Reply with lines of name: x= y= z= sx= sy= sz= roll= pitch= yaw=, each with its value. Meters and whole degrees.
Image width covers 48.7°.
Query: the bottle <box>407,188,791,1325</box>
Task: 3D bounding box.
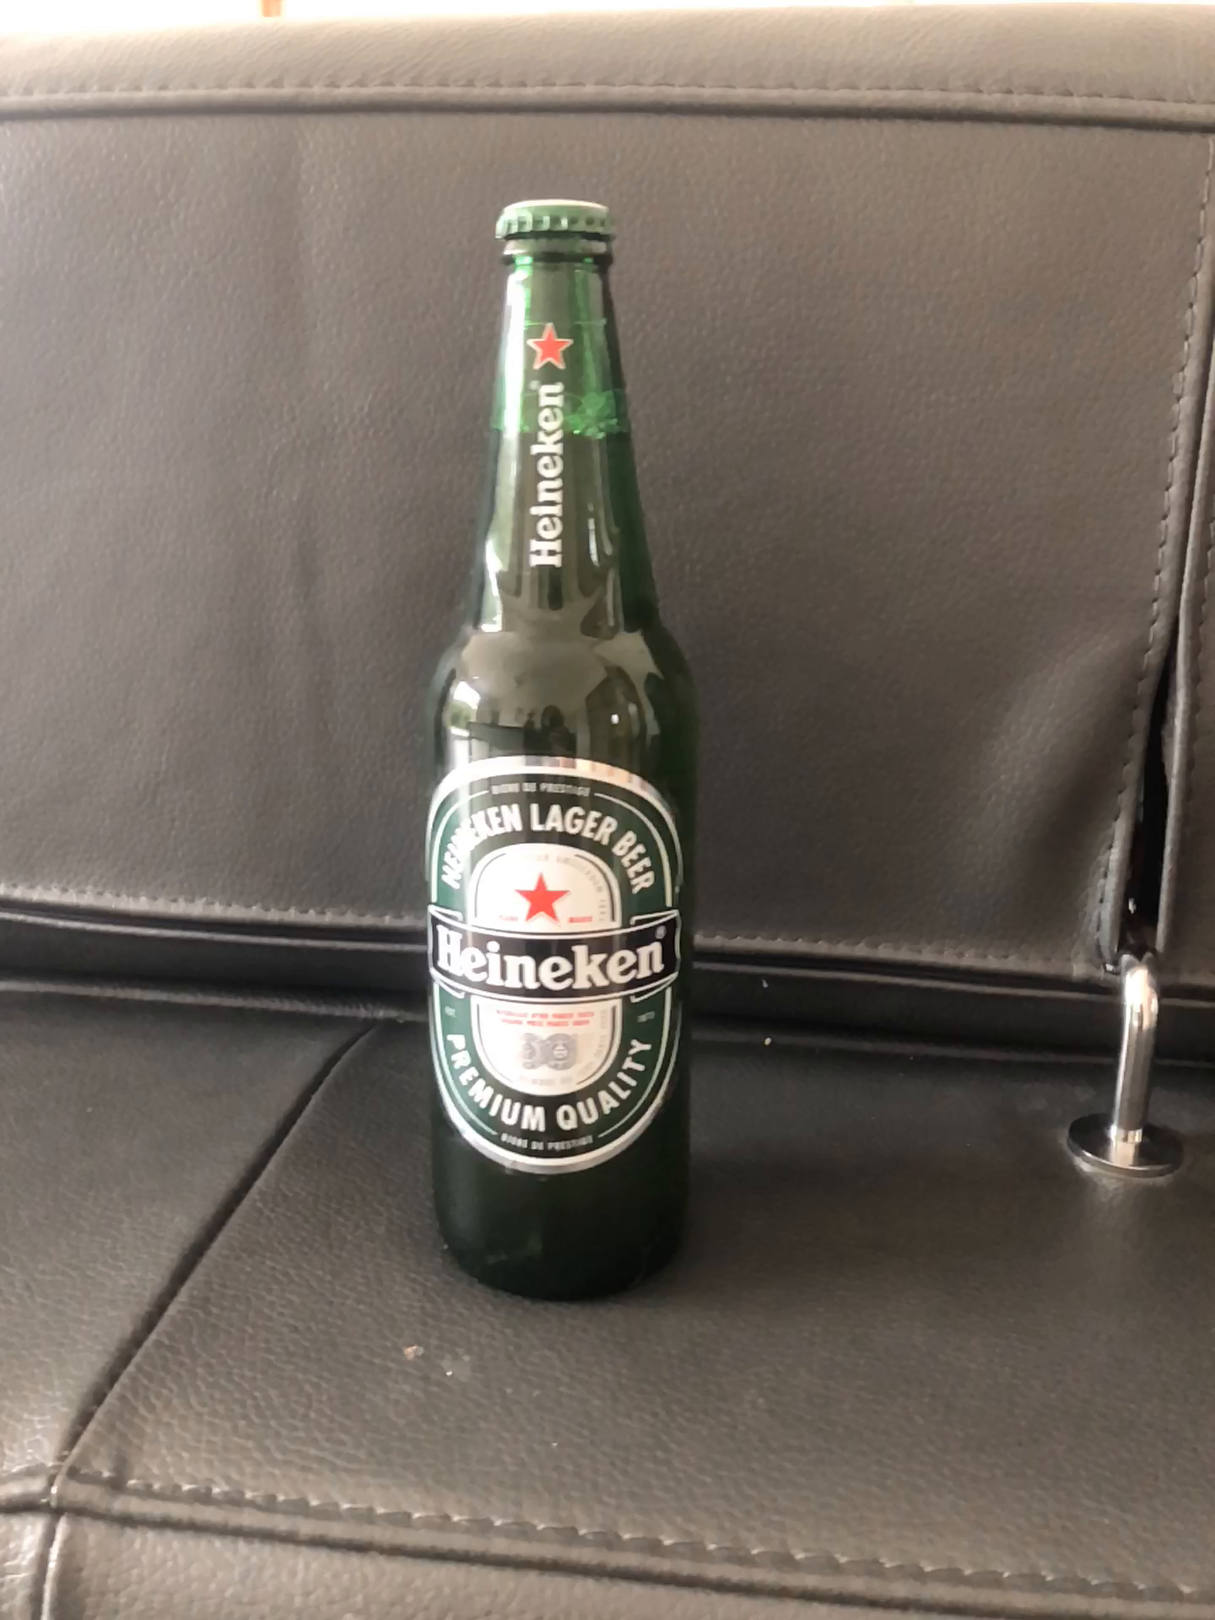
bottle: x=0.000 y=-0.010 z=0.352 sx=0.080 sy=0.269 sz=0.080 roll=1 pitch=16 yaw=0
